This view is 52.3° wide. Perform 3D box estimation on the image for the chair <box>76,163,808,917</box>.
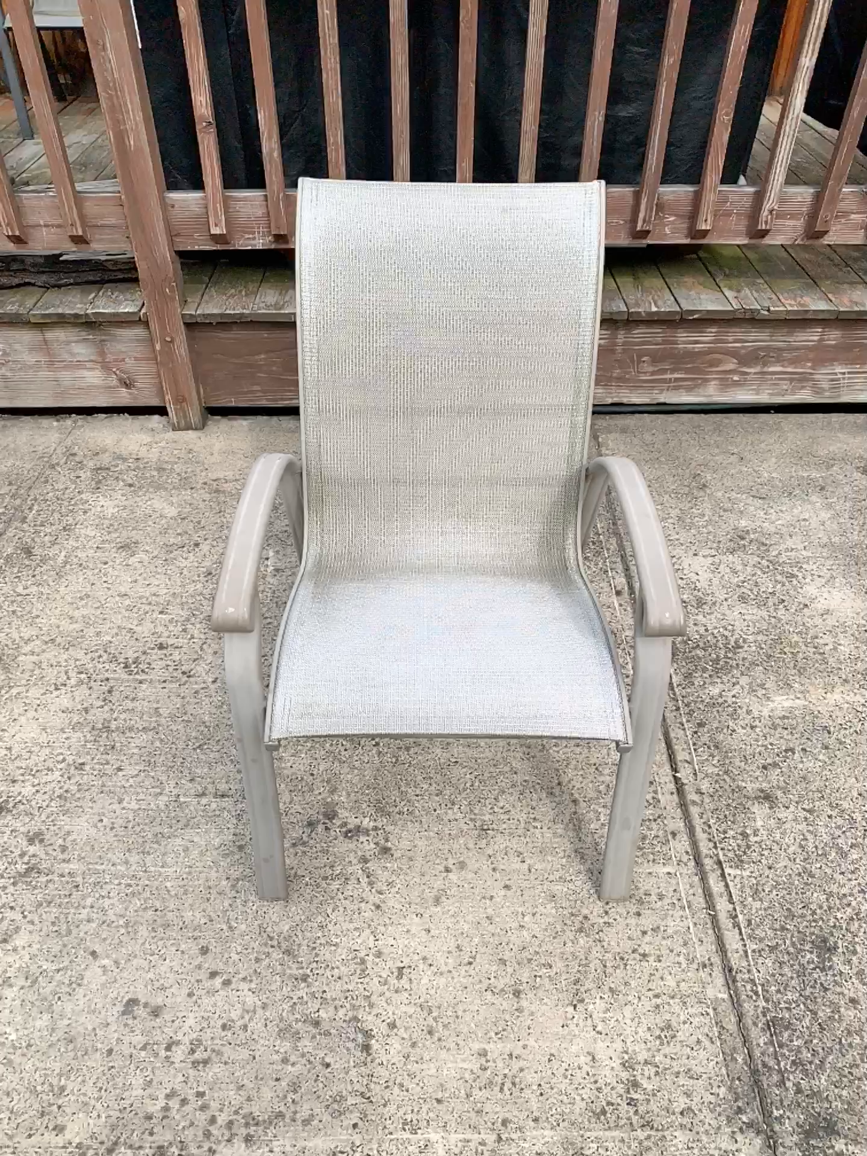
[{"bbox_3d":[0.008,-0.074,1.359,0.650,0.845,0.795,0,40,0],"label":"chair"}]
